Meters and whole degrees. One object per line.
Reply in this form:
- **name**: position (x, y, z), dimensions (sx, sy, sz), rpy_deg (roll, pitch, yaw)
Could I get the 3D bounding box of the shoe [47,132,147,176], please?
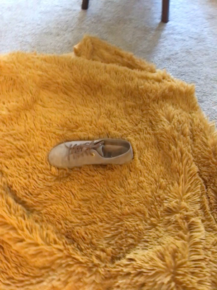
- **shoe**: position (-0.033, 0.025, 0.663), dimensions (0.258, 0.070, 0.100), rpy_deg (-1, 58, -4)
